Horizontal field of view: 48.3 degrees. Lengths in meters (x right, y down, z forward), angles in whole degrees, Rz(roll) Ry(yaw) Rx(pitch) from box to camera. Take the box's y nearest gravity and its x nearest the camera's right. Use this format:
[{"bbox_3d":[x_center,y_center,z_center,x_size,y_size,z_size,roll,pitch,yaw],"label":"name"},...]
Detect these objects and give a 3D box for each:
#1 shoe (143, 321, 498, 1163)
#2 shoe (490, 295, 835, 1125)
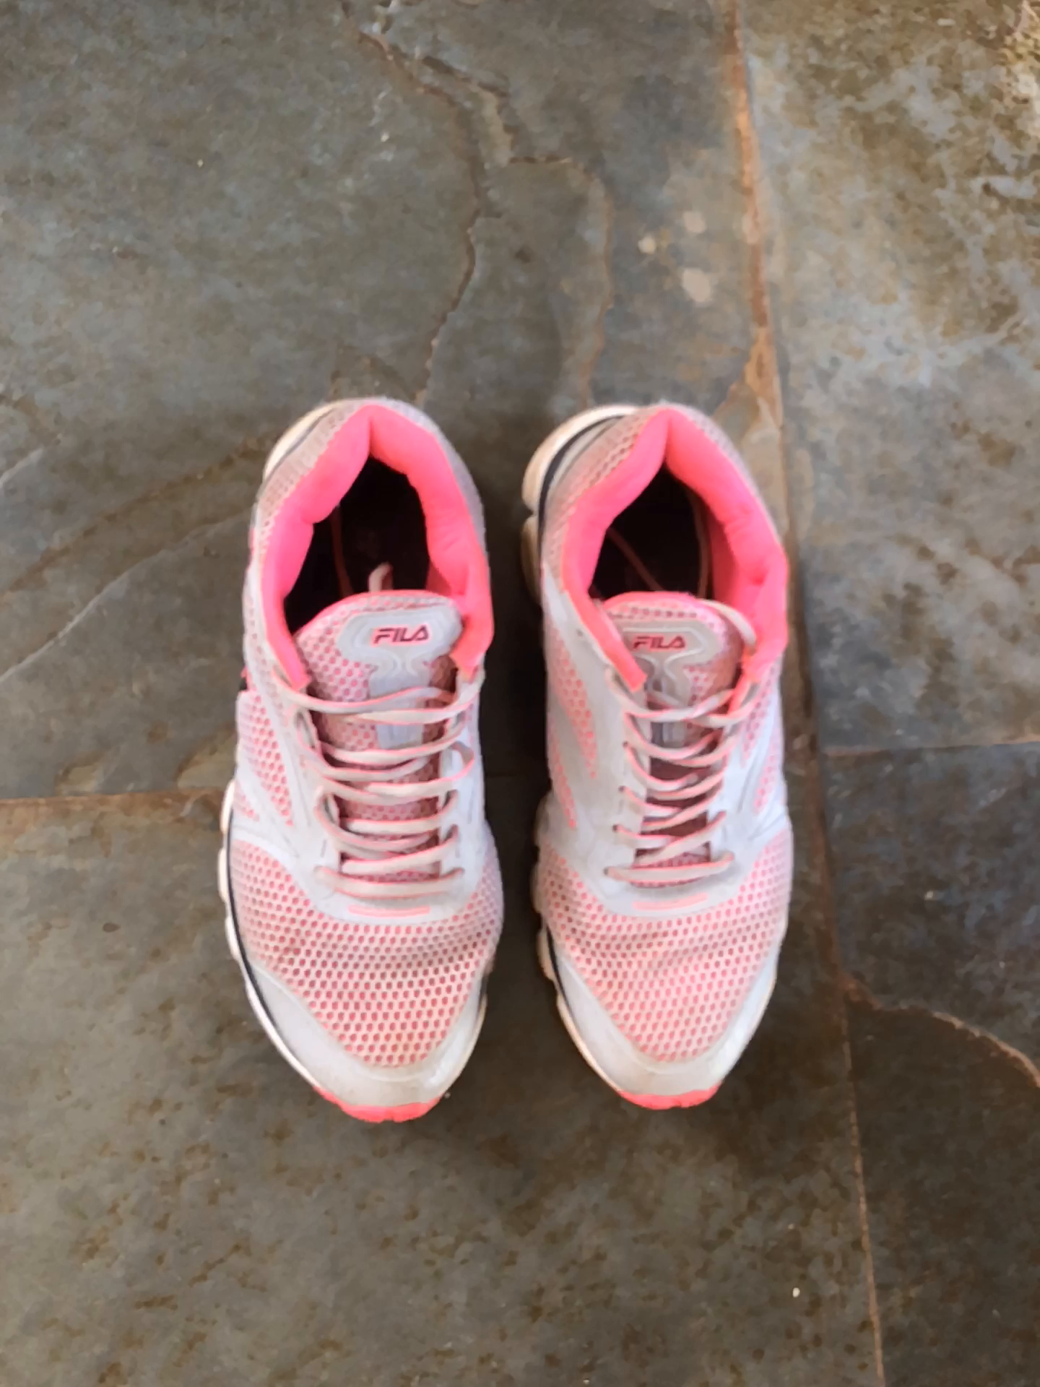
[{"bbox_3d":[-0.074,0.014,0.440,0.110,0.100,0.280,-2,82,-6],"label":"shoe"},{"bbox_3d":[0.047,0.006,0.457,0.110,0.100,0.290,1,82,-6],"label":"shoe"}]
